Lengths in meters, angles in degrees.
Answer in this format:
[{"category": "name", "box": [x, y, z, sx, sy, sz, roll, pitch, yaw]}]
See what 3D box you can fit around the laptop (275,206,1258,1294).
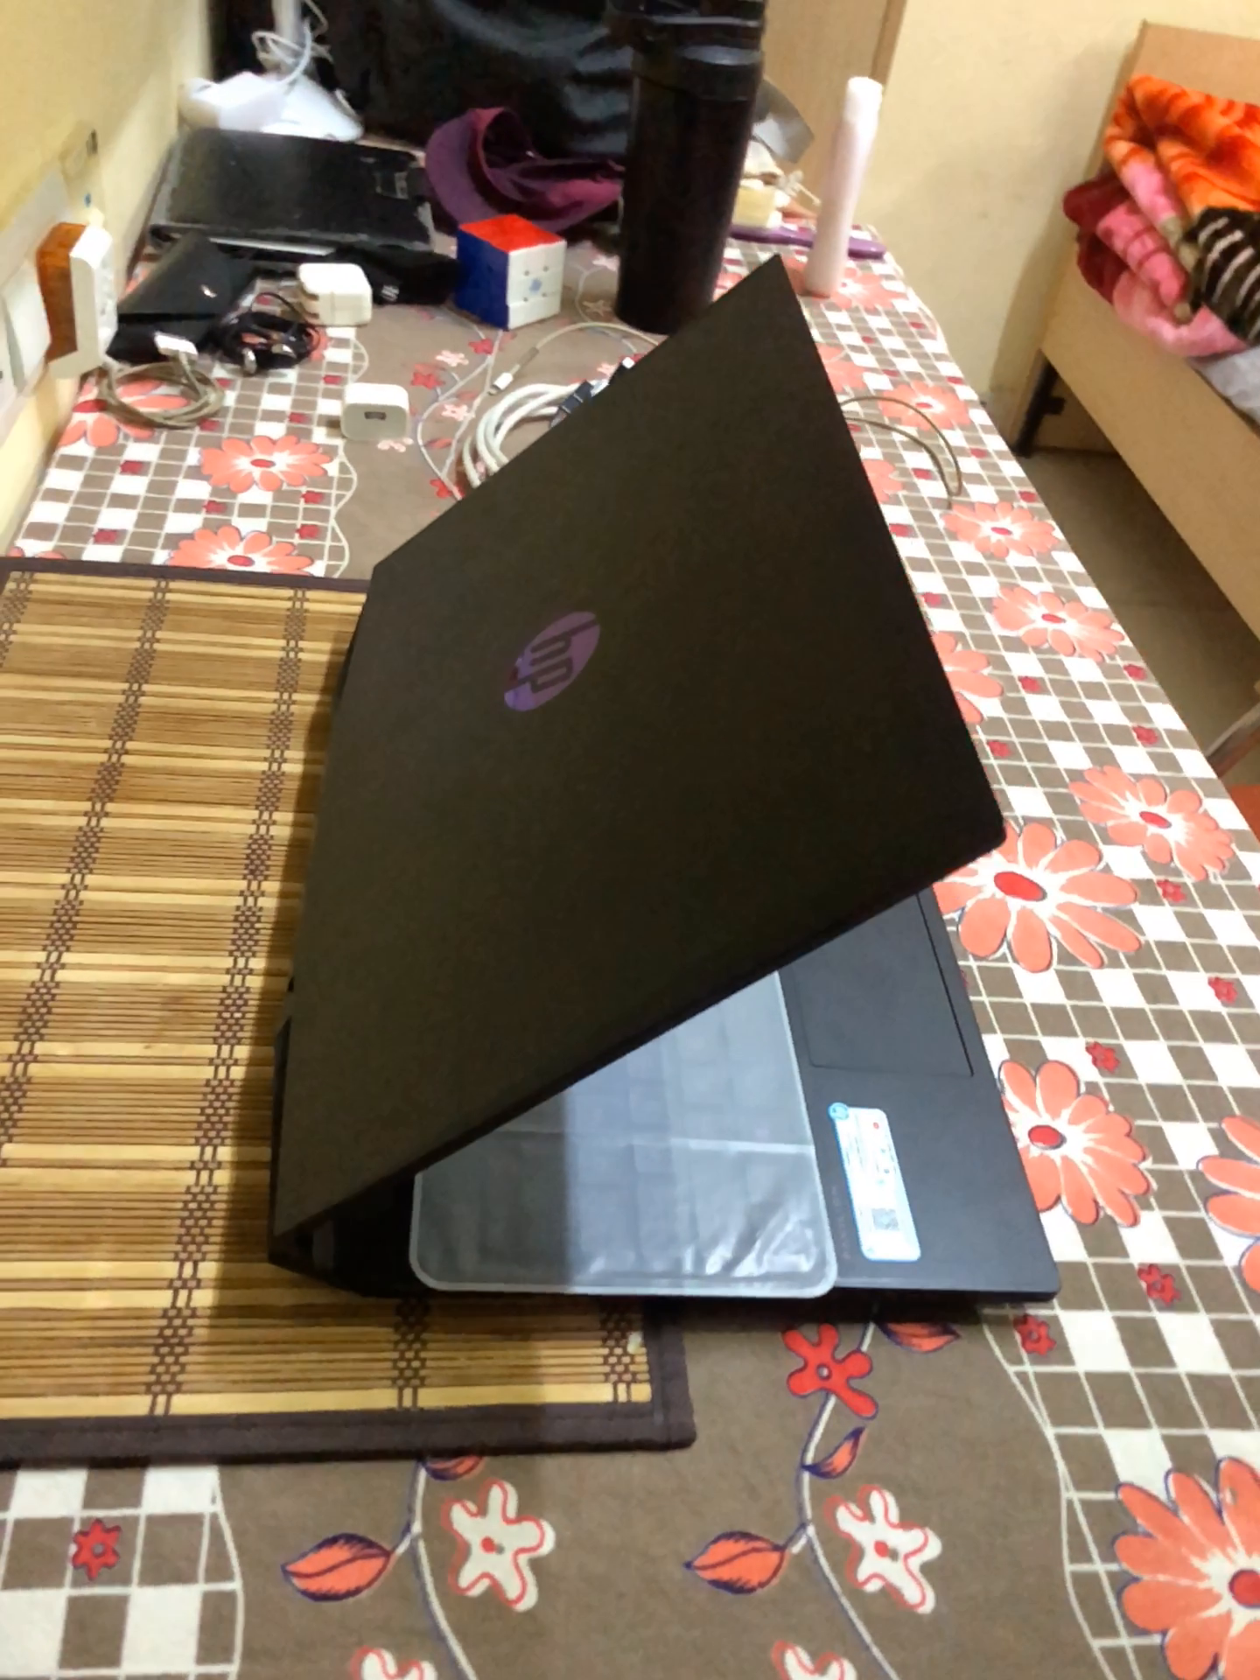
[{"category": "laptop", "box": [0.022, -0.052, 0.500, 0.236, 0.164, 0.358, 6, 43, -10]}]
